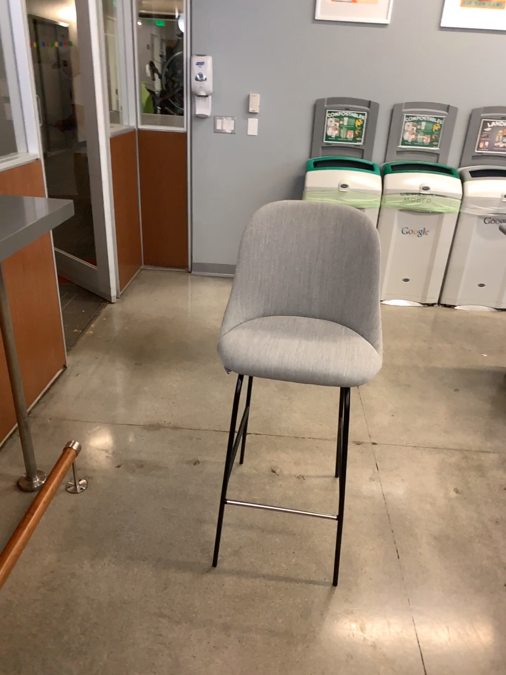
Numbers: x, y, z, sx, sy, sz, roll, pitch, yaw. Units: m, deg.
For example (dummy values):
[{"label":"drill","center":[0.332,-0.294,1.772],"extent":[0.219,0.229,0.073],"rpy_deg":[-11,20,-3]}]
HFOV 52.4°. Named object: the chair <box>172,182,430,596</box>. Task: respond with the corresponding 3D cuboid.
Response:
[{"label":"chair","center":[0.124,0.116,1.776],"extent":[0.590,1.094,0.814],"rpy_deg":[6,26,5]}]
